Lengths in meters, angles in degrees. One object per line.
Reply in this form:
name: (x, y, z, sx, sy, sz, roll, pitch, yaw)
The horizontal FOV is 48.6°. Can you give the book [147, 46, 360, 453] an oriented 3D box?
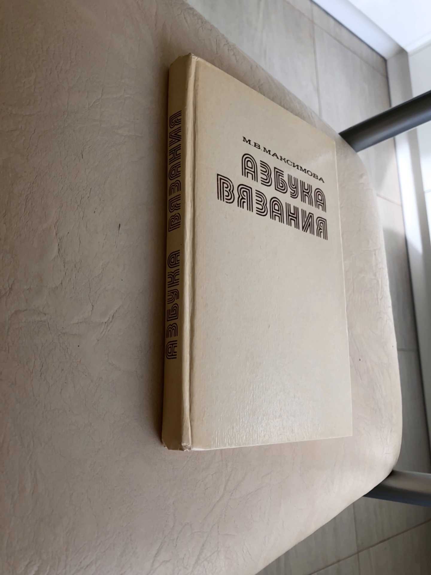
book: (0.031, -0.017, 0.299, 0.149, 0.024, 0.218, 12, 71, -40)
